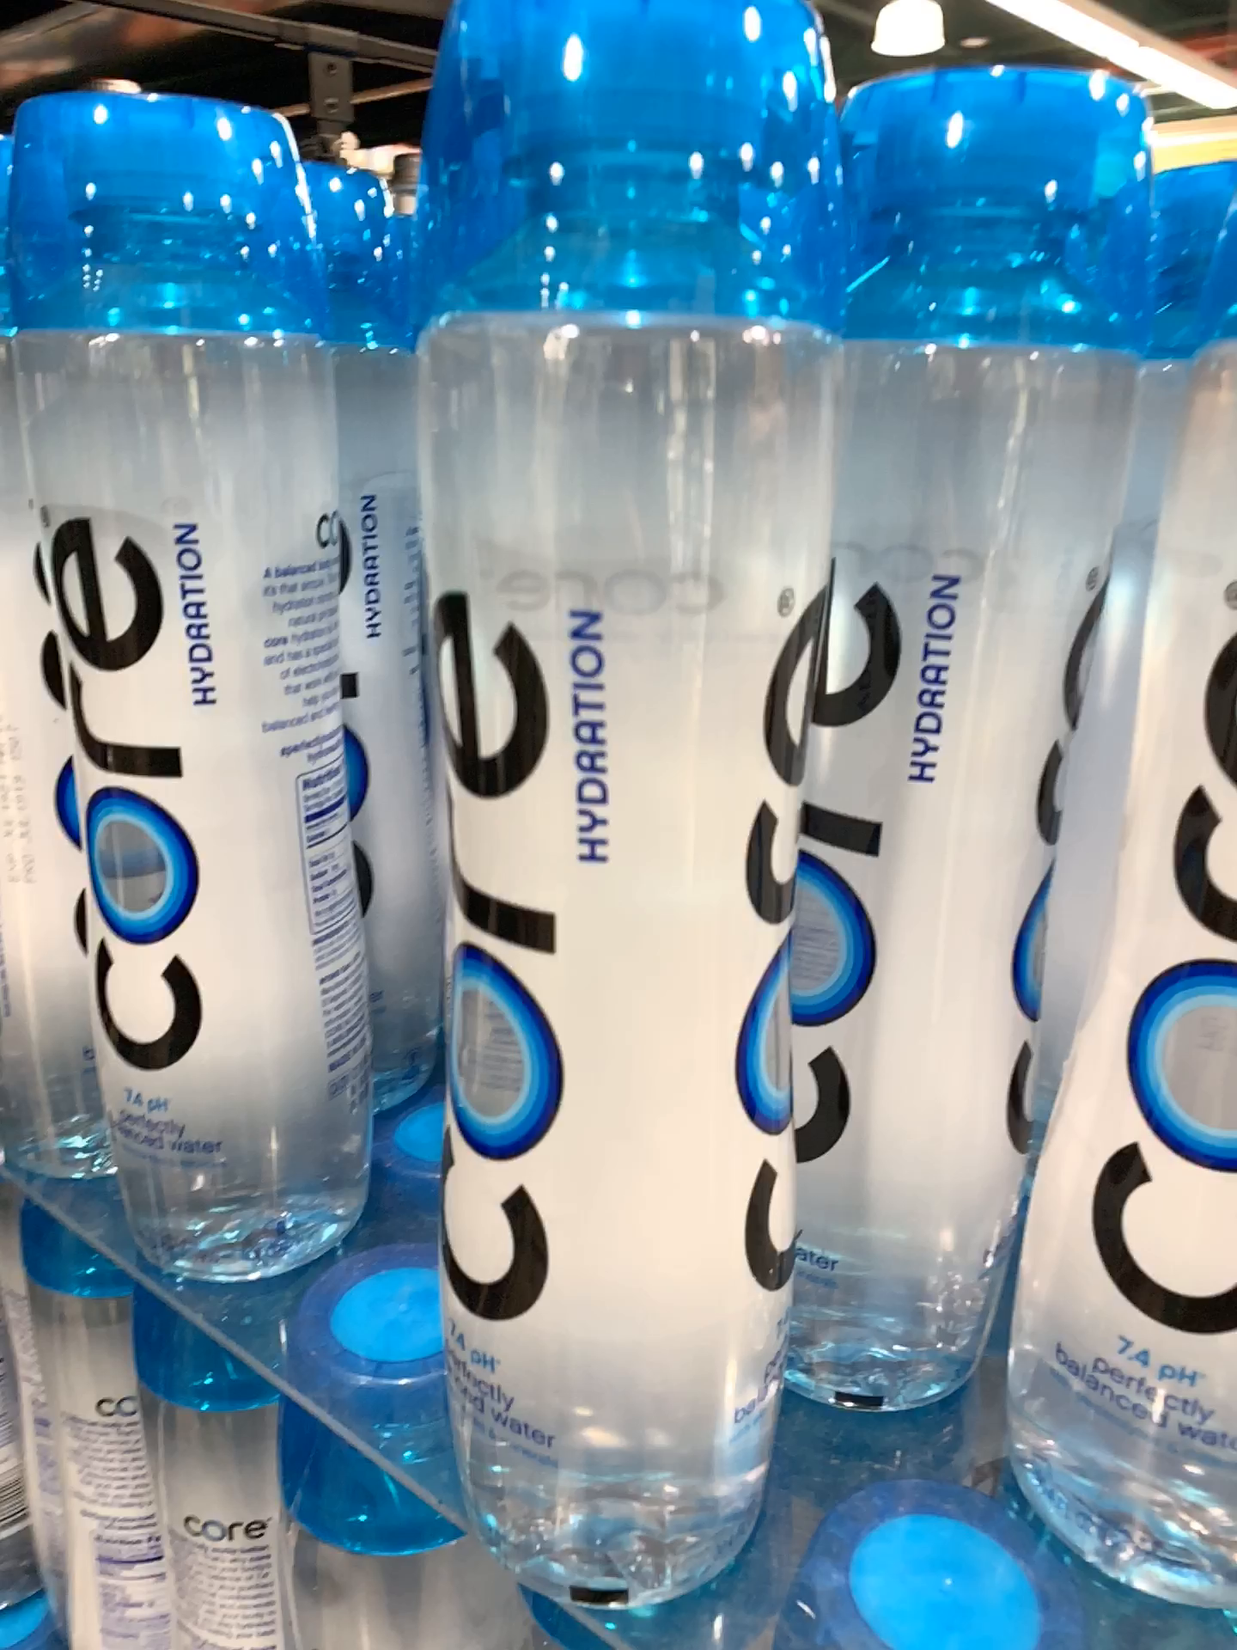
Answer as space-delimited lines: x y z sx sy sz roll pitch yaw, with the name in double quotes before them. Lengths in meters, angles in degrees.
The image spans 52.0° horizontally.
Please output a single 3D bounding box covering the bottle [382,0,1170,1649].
"bottle" 0.020 0.012 0.236 0.090 0.289 0.080 -14 23 -41
